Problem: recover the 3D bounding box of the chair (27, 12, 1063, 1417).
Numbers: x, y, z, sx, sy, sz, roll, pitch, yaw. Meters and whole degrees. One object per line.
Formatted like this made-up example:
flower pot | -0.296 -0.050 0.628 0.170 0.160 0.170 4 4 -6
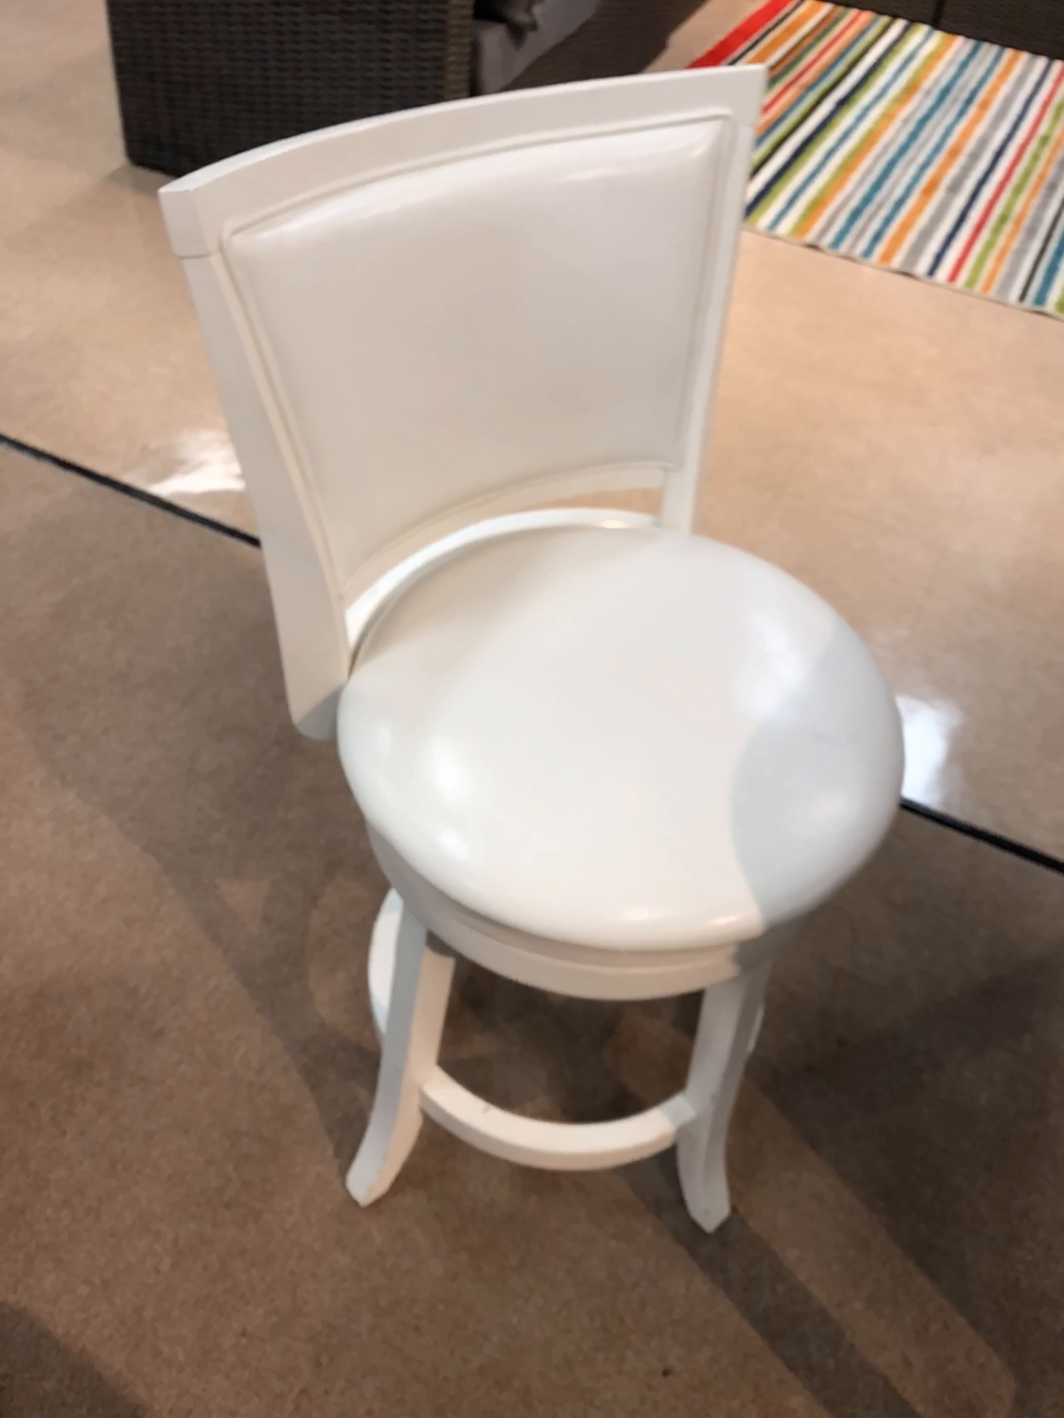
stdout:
chair | 0.071 0.045 1.016 0.621 0.944 0.573 -21 53 -24
